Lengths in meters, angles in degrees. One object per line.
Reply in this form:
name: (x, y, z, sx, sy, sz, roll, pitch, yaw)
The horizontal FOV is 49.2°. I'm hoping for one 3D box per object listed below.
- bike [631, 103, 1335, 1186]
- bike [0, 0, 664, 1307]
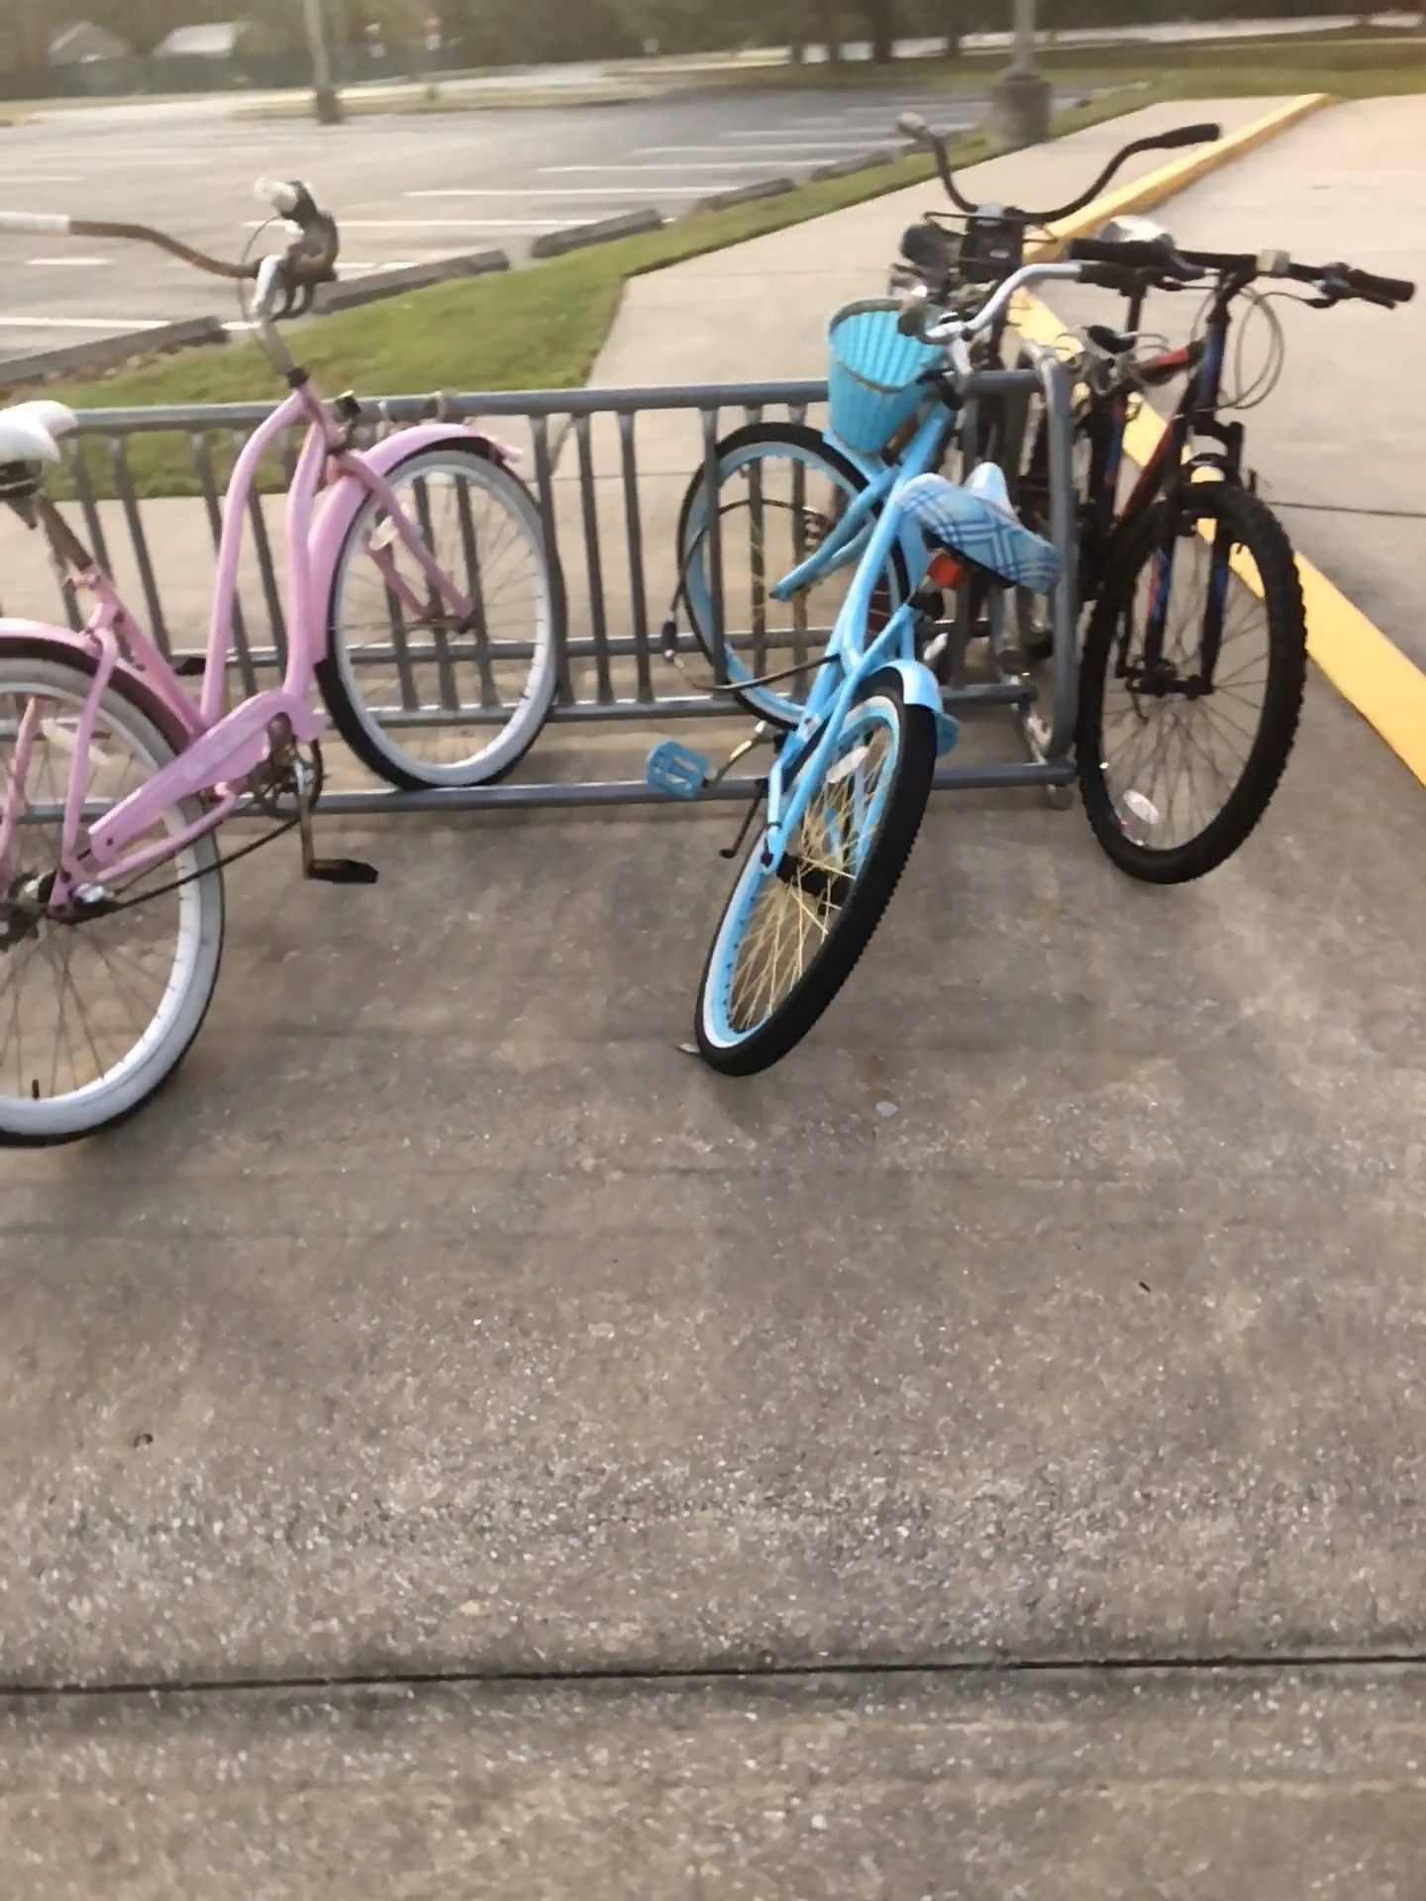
bike: (0.261, -0.562, 2.344, 0.583, 0.953, 1.426, -5, 36, -3)
bike: (-0.781, -0.642, 2.281, 0.772, 1.146, 1.614, 9, 40, 21)
